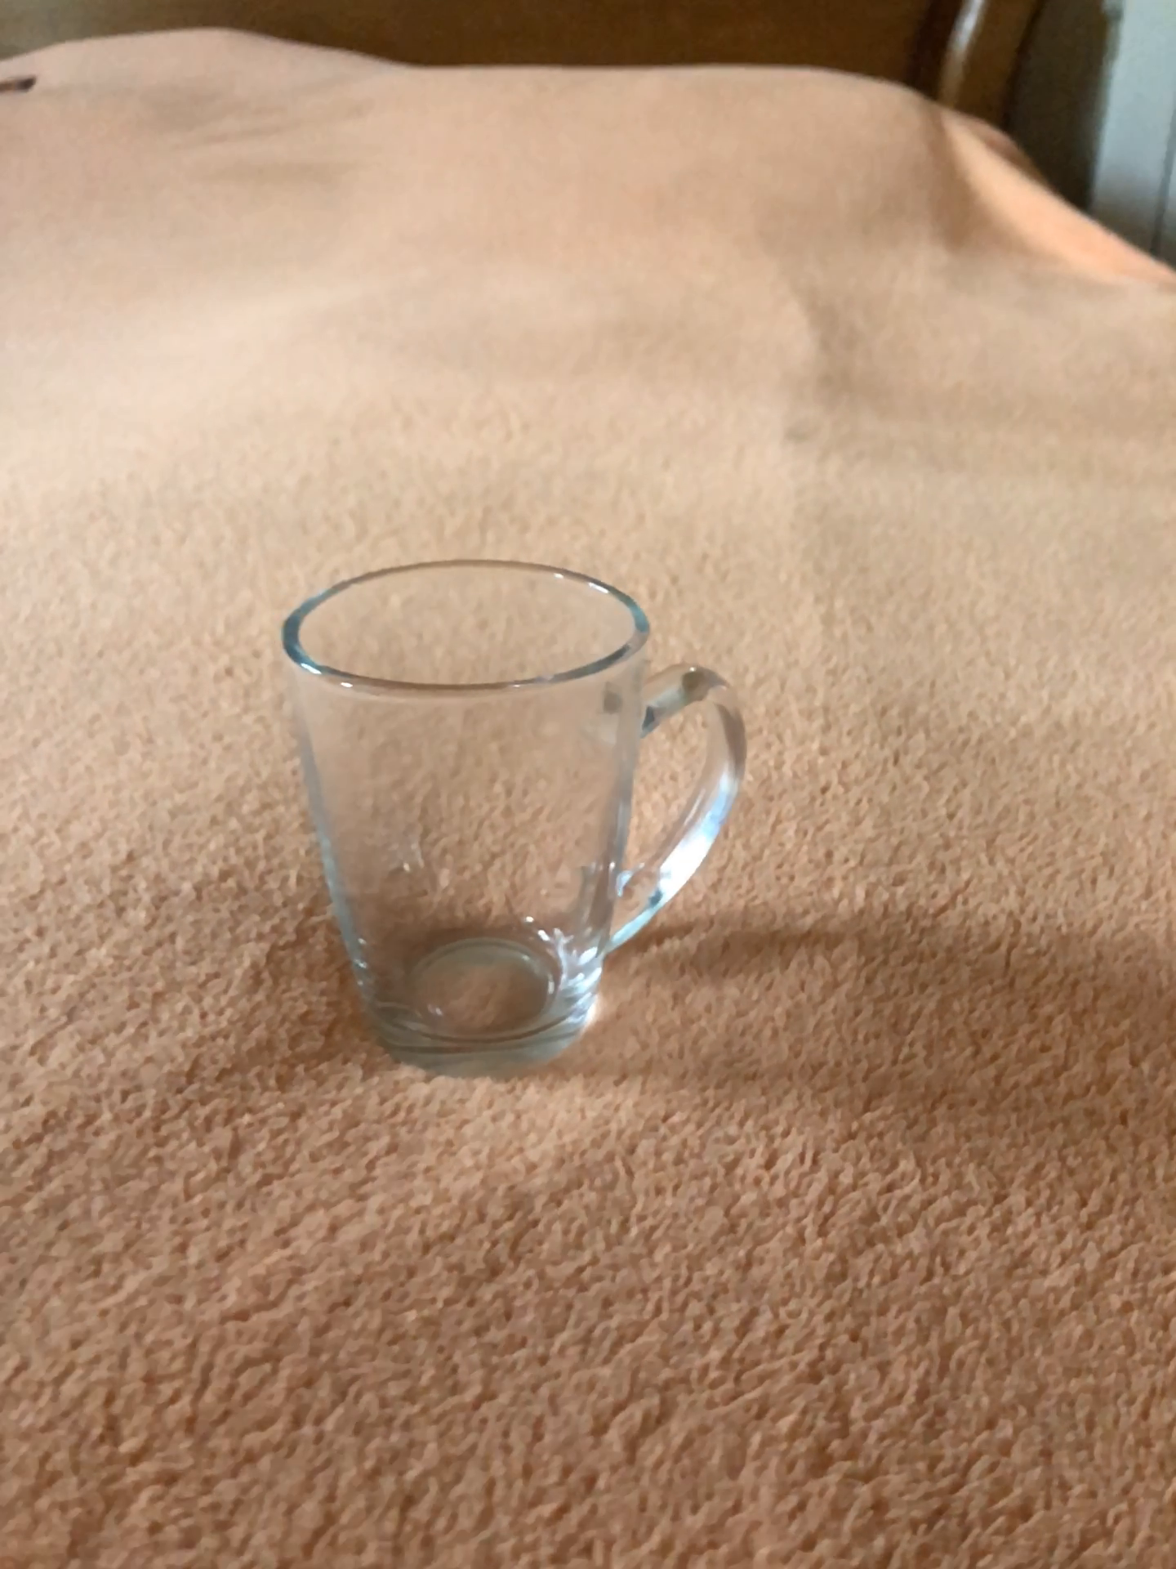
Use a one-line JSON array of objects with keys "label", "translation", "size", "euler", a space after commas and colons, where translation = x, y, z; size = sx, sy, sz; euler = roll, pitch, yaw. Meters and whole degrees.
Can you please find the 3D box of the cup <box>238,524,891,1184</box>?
[{"label": "cup", "translation": [-0.007, 0.007, 0.262], "size": [0.100, 0.089, 0.070], "euler": [-12, 31, -22]}]
